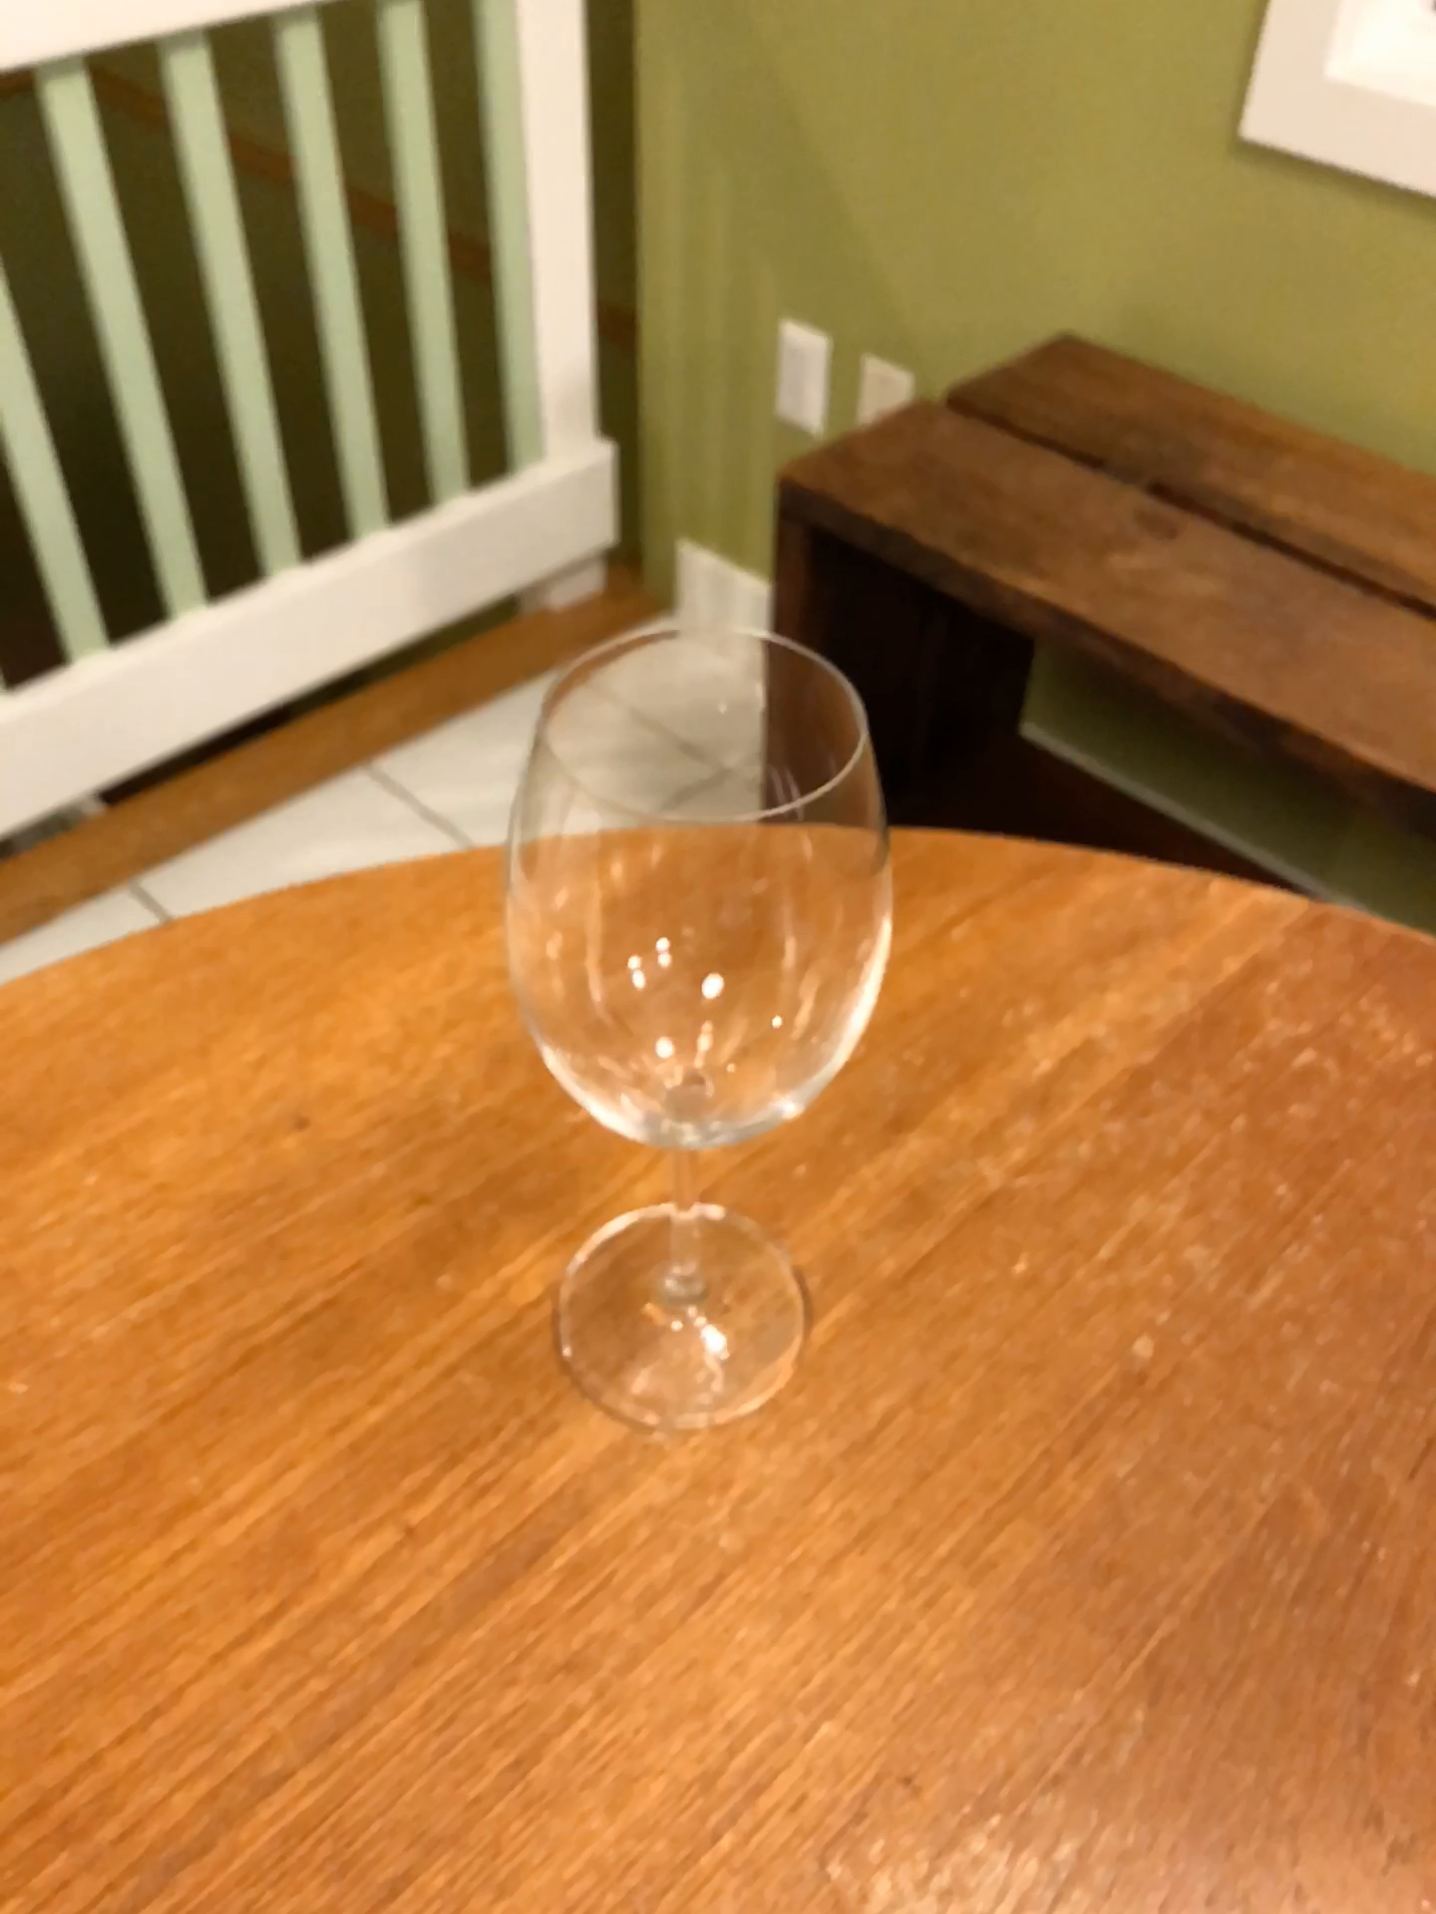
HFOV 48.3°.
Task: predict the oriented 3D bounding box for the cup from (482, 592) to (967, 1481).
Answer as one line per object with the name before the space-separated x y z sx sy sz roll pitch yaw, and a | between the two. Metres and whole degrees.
cup | -0.006 0.034 0.440 0.097 0.240 0.101 1 44 -1
